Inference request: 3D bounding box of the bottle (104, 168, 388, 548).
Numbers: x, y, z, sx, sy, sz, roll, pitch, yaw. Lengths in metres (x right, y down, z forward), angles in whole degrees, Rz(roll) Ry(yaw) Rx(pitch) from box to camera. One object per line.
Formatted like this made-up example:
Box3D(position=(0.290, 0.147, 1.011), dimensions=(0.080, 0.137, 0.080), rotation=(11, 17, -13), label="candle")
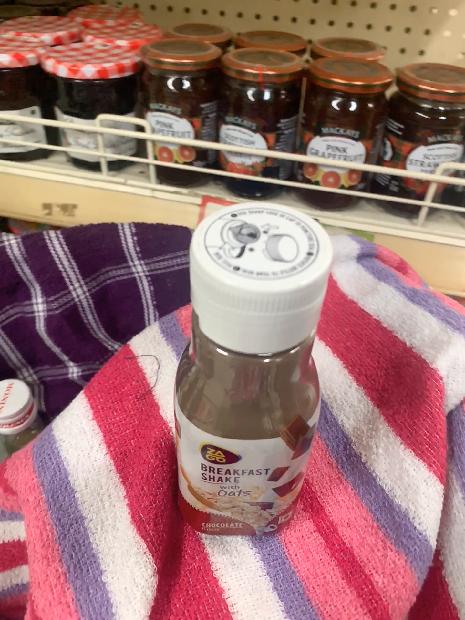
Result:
Box3D(position=(0.001, 0.028, 0.168), dimensions=(0.060, 0.139, 0.050), rotation=(1, 43, -2), label="bottle")
